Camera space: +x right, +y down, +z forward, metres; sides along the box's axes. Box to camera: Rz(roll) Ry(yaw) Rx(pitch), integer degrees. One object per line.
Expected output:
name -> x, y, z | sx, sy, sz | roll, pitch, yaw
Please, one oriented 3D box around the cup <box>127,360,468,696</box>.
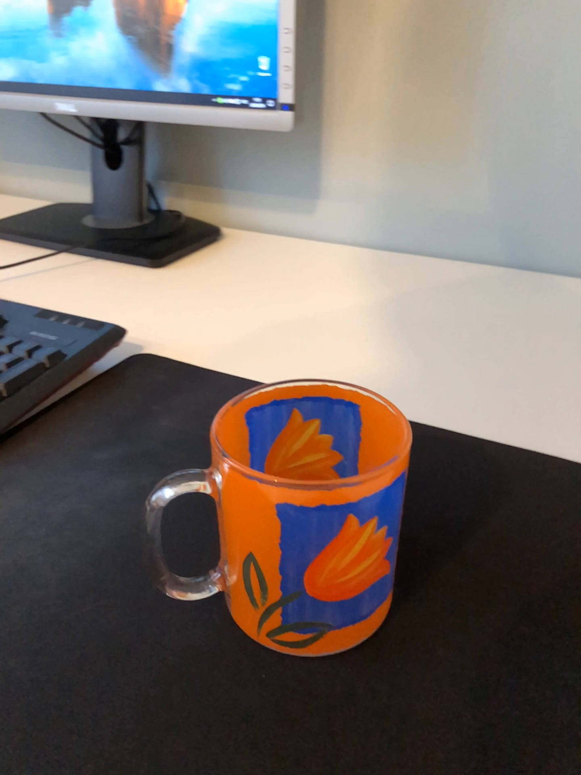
cup -> -0.002, 0.052, 0.267 | 0.114, 0.089, 0.076 | -8, 30, -14
